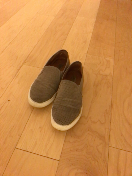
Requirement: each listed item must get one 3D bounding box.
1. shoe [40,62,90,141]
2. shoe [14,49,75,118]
[{"bbox_3d":[0.011,0.025,0.501,0.110,0.050,0.282,11,50,6],"label":"shoe"},{"bbox_3d":[-0.063,-0.036,0.548,0.110,0.060,0.282,17,51,11],"label":"shoe"}]
